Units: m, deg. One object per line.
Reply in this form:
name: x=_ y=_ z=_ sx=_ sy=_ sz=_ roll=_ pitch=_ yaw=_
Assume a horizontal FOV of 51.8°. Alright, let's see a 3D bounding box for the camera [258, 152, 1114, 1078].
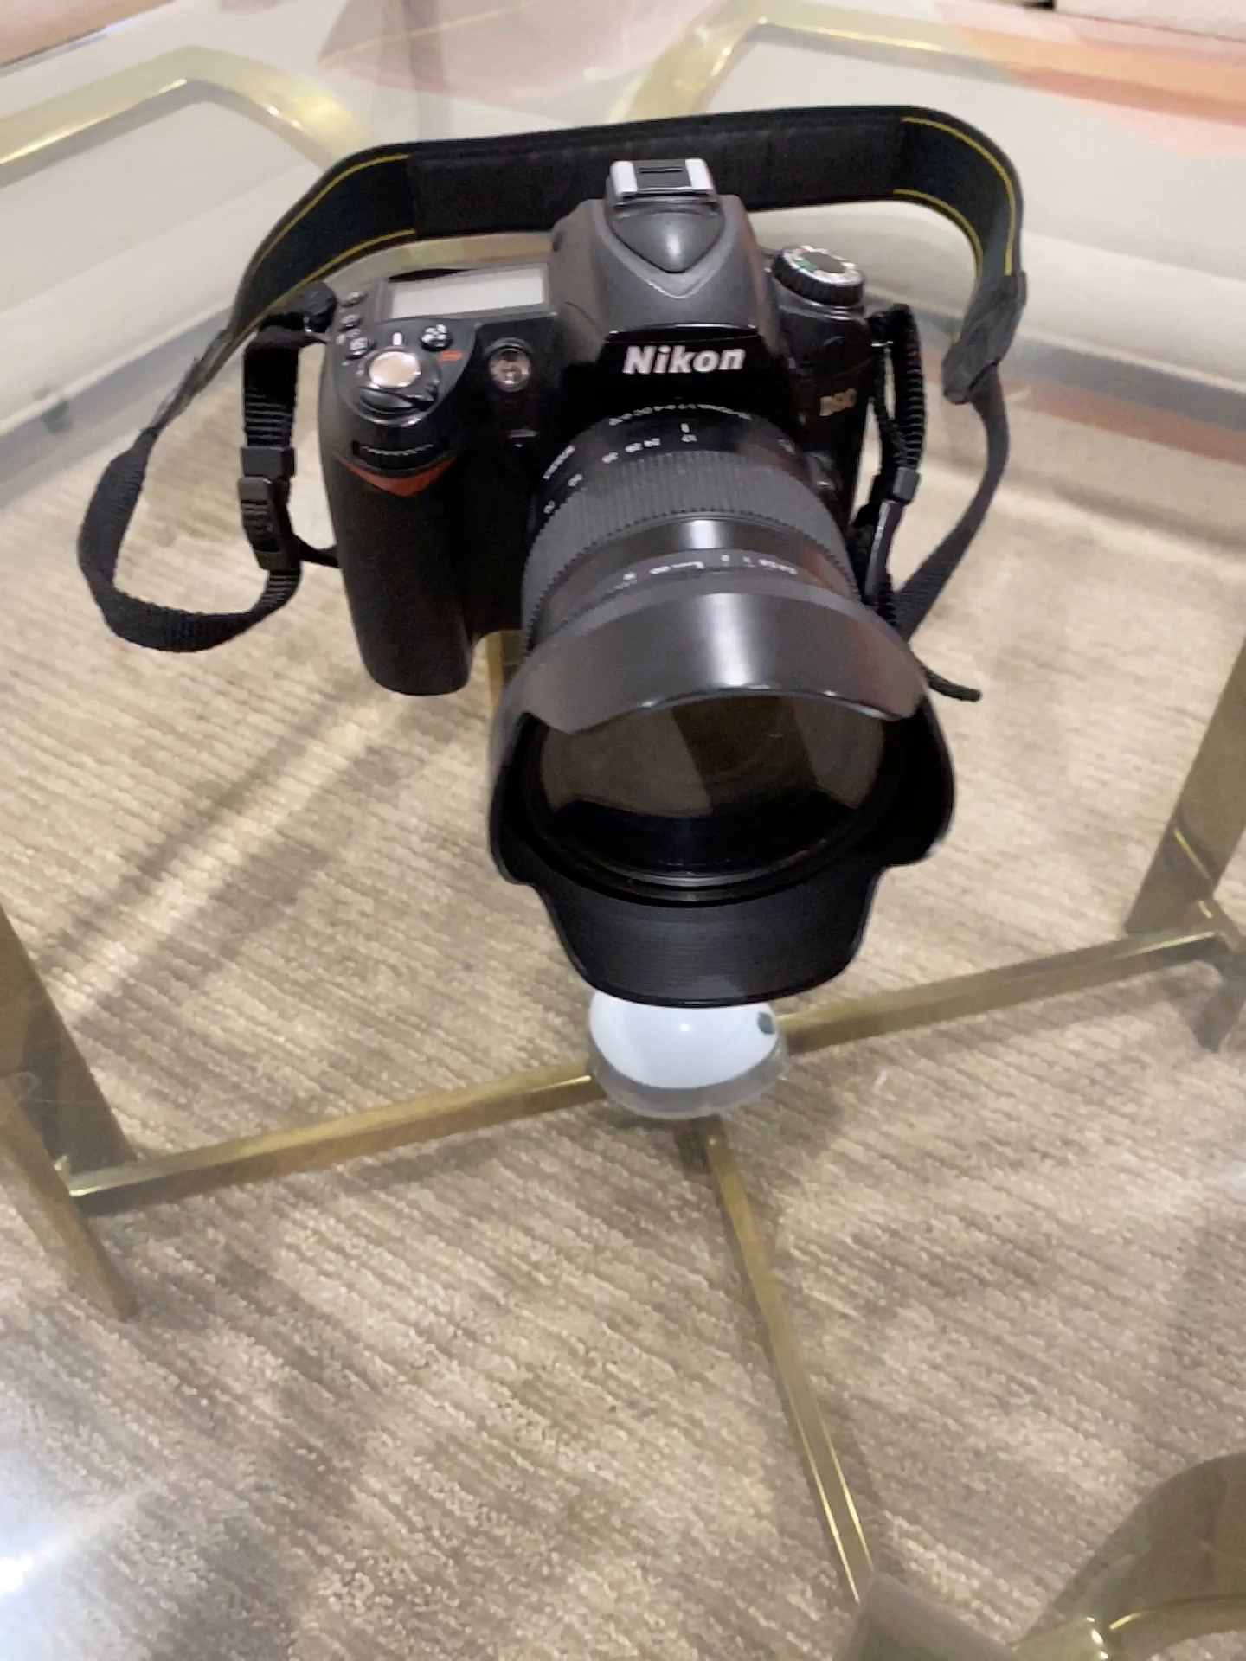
camera: x=0.002 y=-0.059 z=0.298 sx=0.130 sy=0.119 sz=0.181 roll=-5 pitch=47 yaw=-4
